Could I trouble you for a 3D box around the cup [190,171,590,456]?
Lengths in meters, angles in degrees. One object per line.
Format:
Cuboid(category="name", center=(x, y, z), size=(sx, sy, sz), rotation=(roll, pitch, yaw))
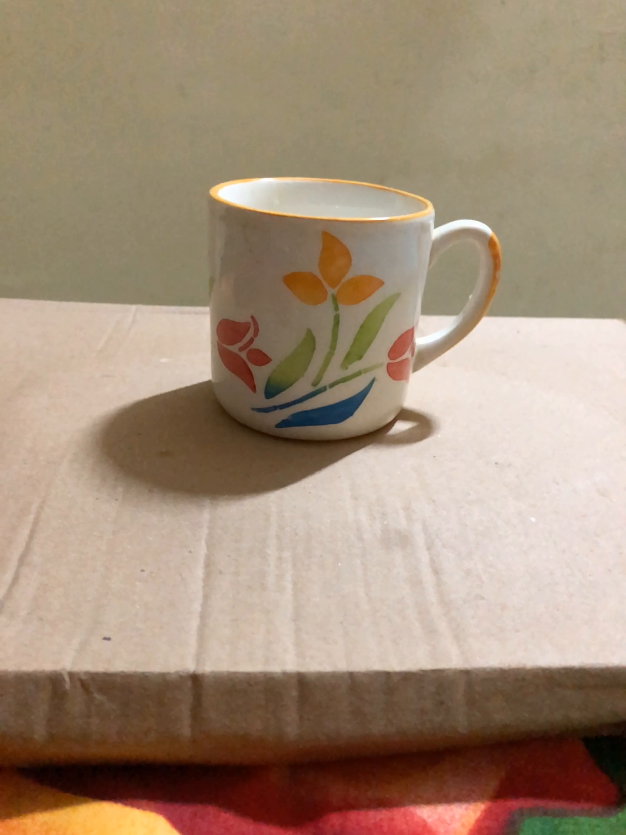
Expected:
Cuboid(category="cup", center=(0.018, -0.046, 0.263), size=(0.120, 0.080, 0.090), rotation=(-3, 25, -11))
